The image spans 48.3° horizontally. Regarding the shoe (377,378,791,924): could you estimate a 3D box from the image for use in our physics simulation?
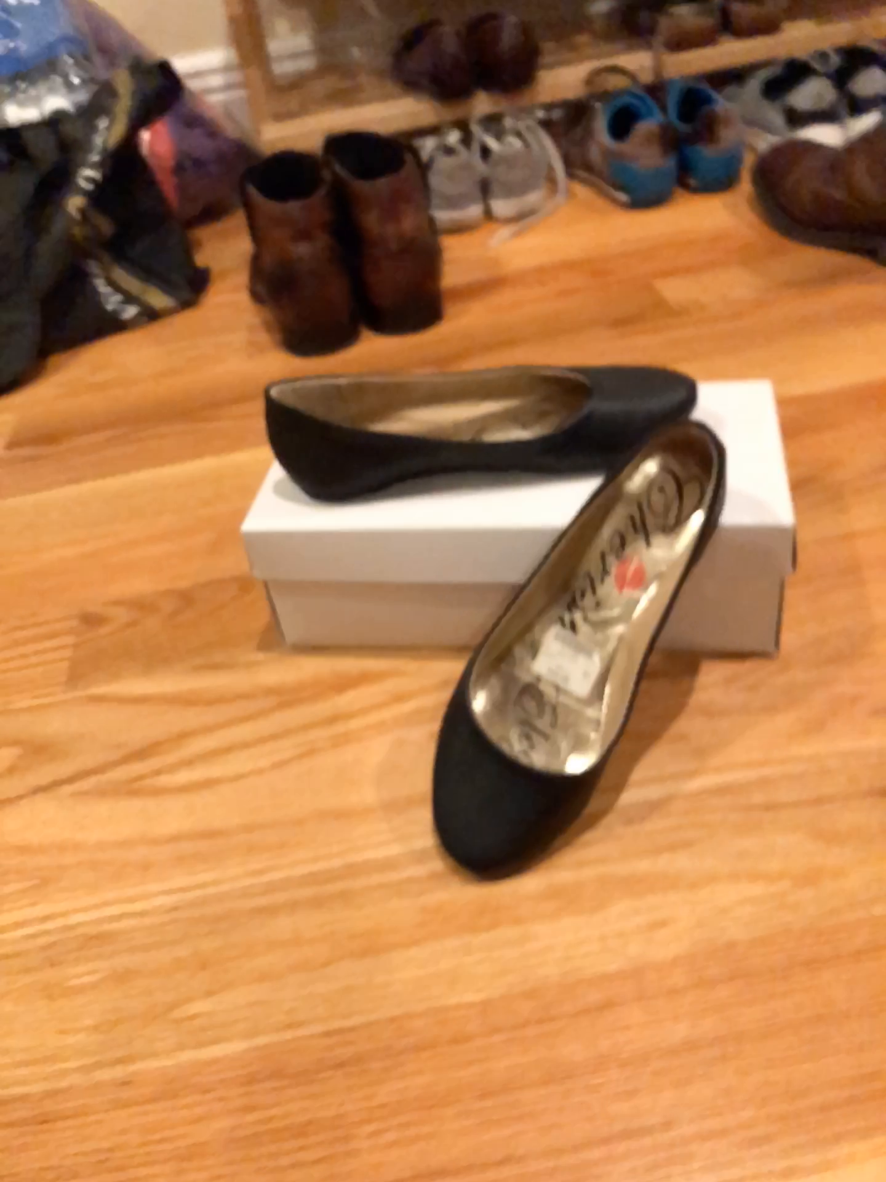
[{"bbox_3d":[0.070,0.028,0.470,0.076,0.060,0.239,30,89,20],"label":"shoe"}]

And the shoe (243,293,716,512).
[{"bbox_3d":[0.020,-0.104,0.545,0.239,0.060,0.076,-6,40,5],"label":"shoe"}]
